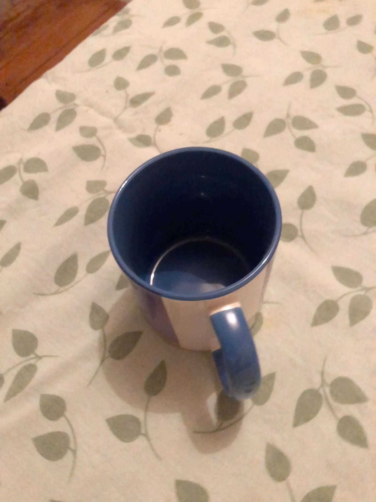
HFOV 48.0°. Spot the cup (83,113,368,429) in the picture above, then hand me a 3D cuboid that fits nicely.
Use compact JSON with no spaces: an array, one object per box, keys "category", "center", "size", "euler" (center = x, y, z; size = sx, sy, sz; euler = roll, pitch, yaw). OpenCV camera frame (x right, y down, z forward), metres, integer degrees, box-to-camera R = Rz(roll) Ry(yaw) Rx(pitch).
[{"category":"cup","center":[0.011,0.016,0.227],"size":[0.090,0.100,0.120],"euler":[-15,64,-4]}]
